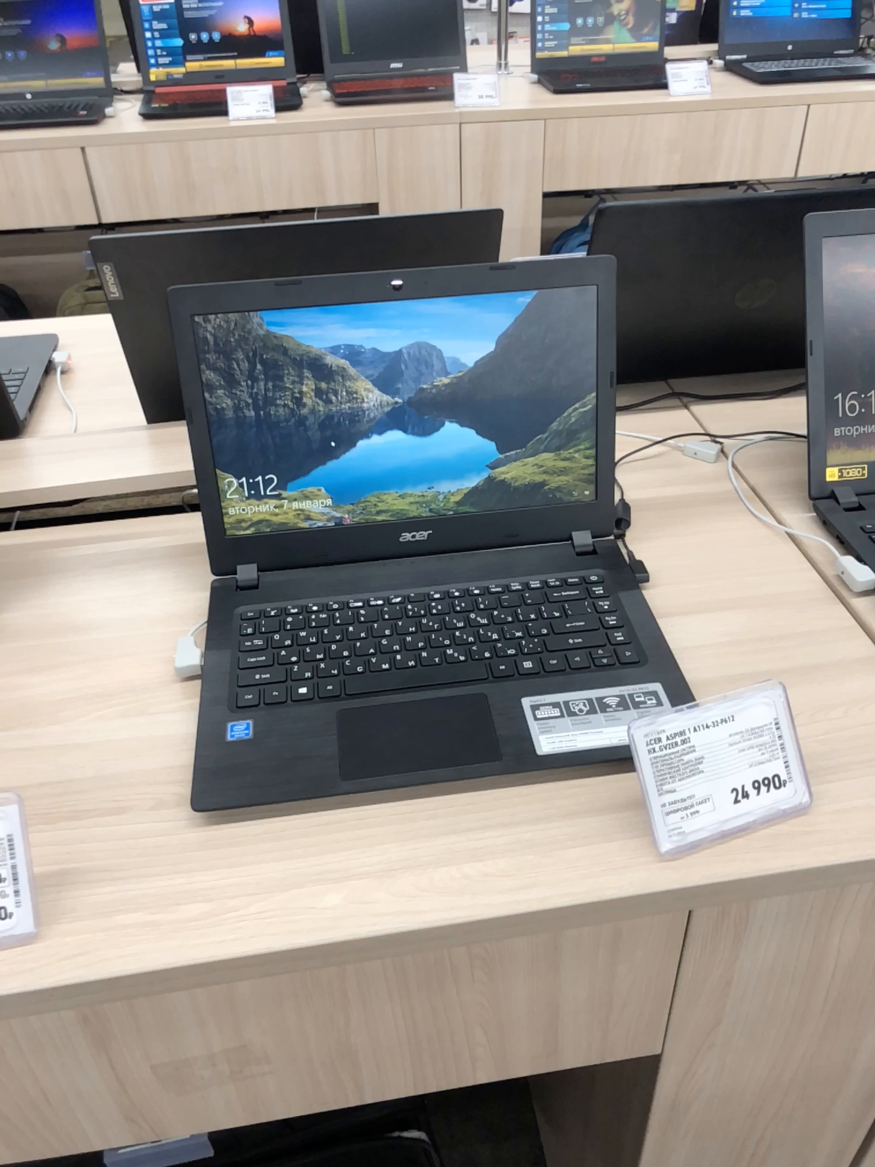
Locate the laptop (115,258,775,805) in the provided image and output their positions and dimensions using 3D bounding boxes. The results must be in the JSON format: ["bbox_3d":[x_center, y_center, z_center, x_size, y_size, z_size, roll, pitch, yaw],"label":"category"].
[{"bbox_3d":[-0.008,-0.057,0.678,0.342,0.223,0.303,-6,37,-6],"label":"laptop"}]

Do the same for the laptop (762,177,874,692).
[{"bbox_3d":[0.537,-0.146,0.760,0.379,0.216,0.378,-7,37,-6],"label":"laptop"}]

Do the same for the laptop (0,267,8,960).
[{"bbox_3d":[-0.546,-0.012,0.616,0.362,0.236,0.339,-5,37,-4],"label":"laptop"}]
